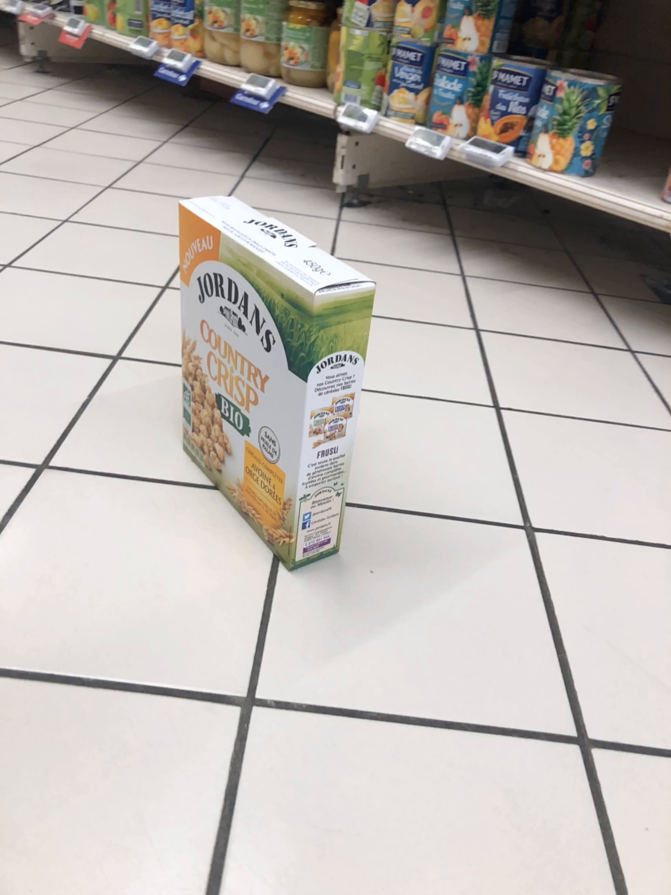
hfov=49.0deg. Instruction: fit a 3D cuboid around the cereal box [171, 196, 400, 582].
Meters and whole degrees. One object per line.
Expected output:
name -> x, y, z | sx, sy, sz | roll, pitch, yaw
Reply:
cereal box -> -0.053, -0.049, 0.537 | 0.060, 0.209, 0.190 | -14, 39, -32
